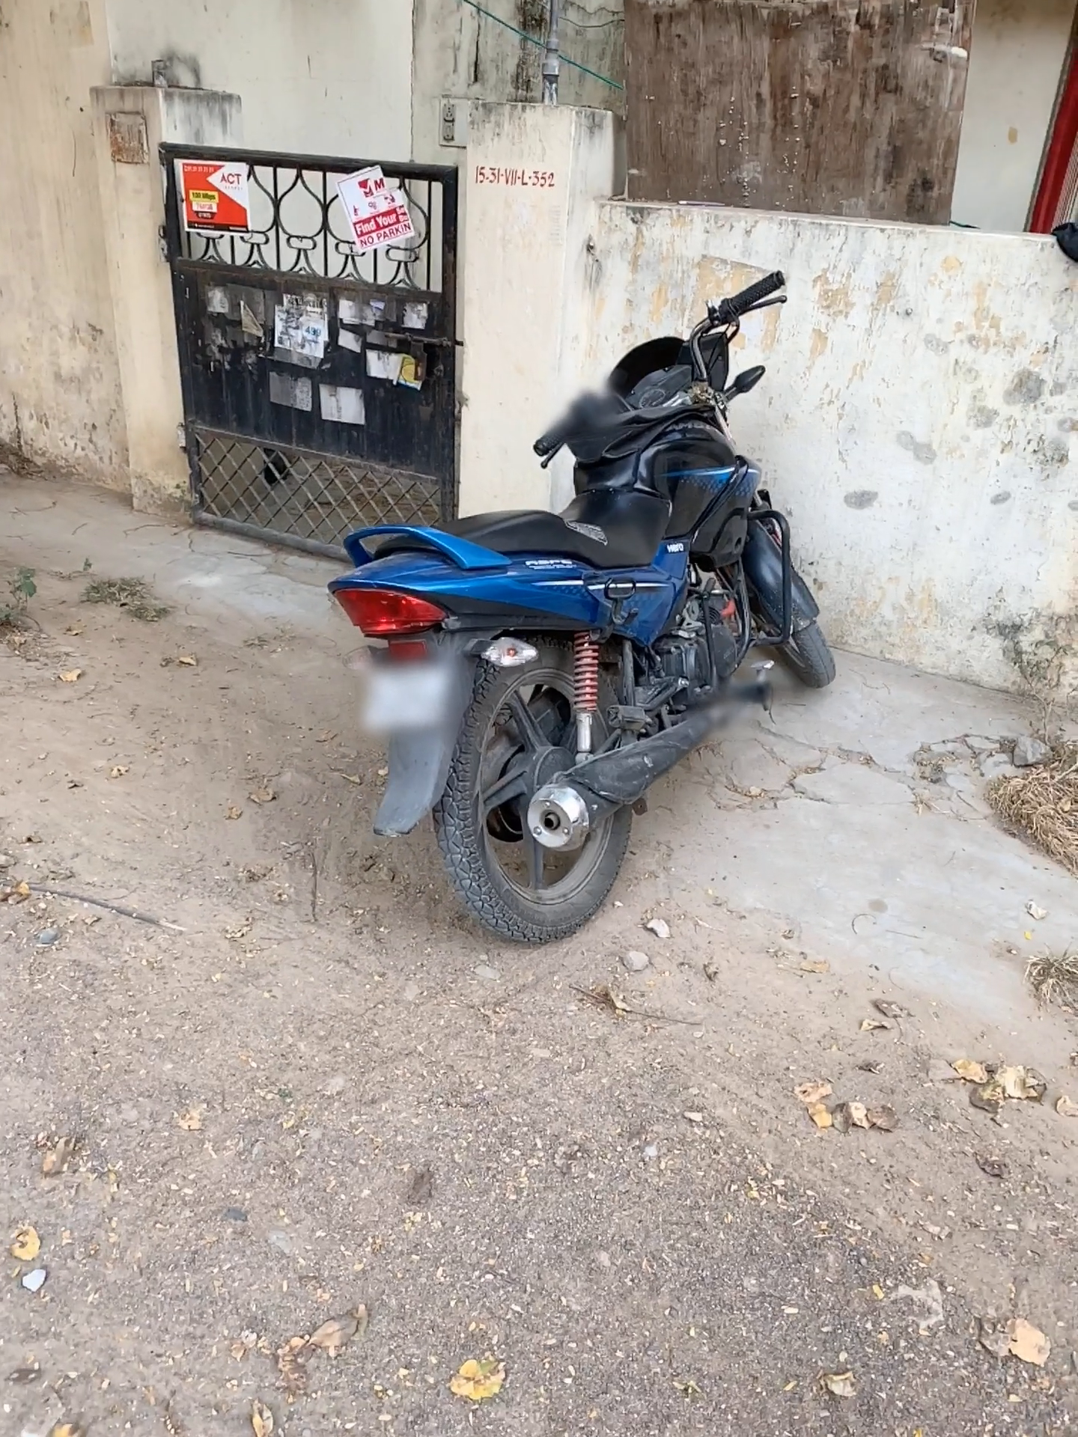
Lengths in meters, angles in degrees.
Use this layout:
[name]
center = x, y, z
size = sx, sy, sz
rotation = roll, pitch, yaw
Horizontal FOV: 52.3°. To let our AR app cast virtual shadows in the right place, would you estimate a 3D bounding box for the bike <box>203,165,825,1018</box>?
[bike]
center = 0.047, -0.522, 2.631
size = 0.754, 1.233, 1.712
rotation = 14, 33, 20
